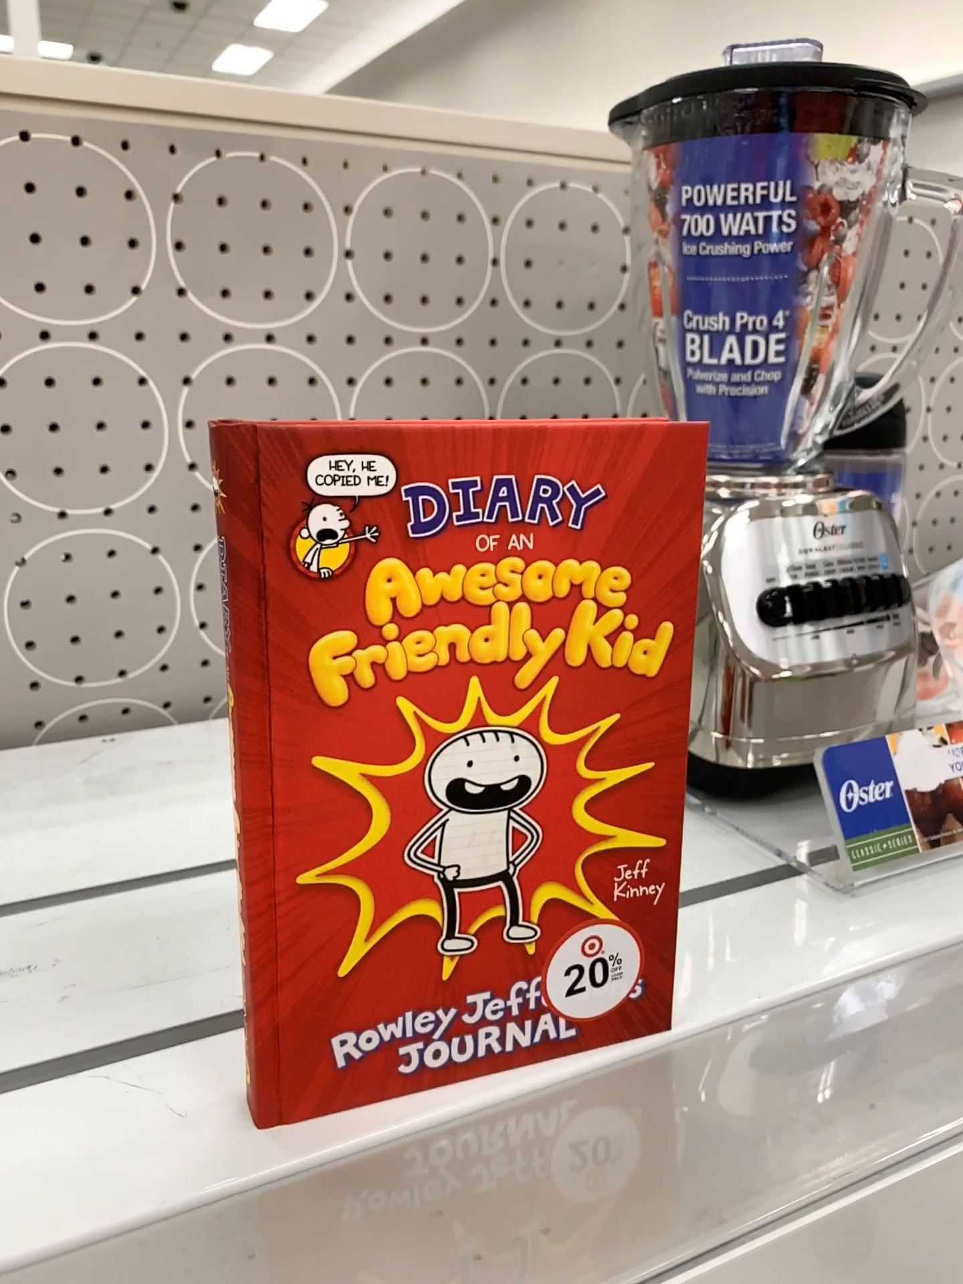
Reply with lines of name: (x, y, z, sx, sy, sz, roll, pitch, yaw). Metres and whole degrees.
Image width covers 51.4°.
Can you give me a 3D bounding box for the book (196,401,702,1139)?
book: (-0.007, 0.035, 0.306, 0.140, 0.209, 0.030, -5, 15, -21)
